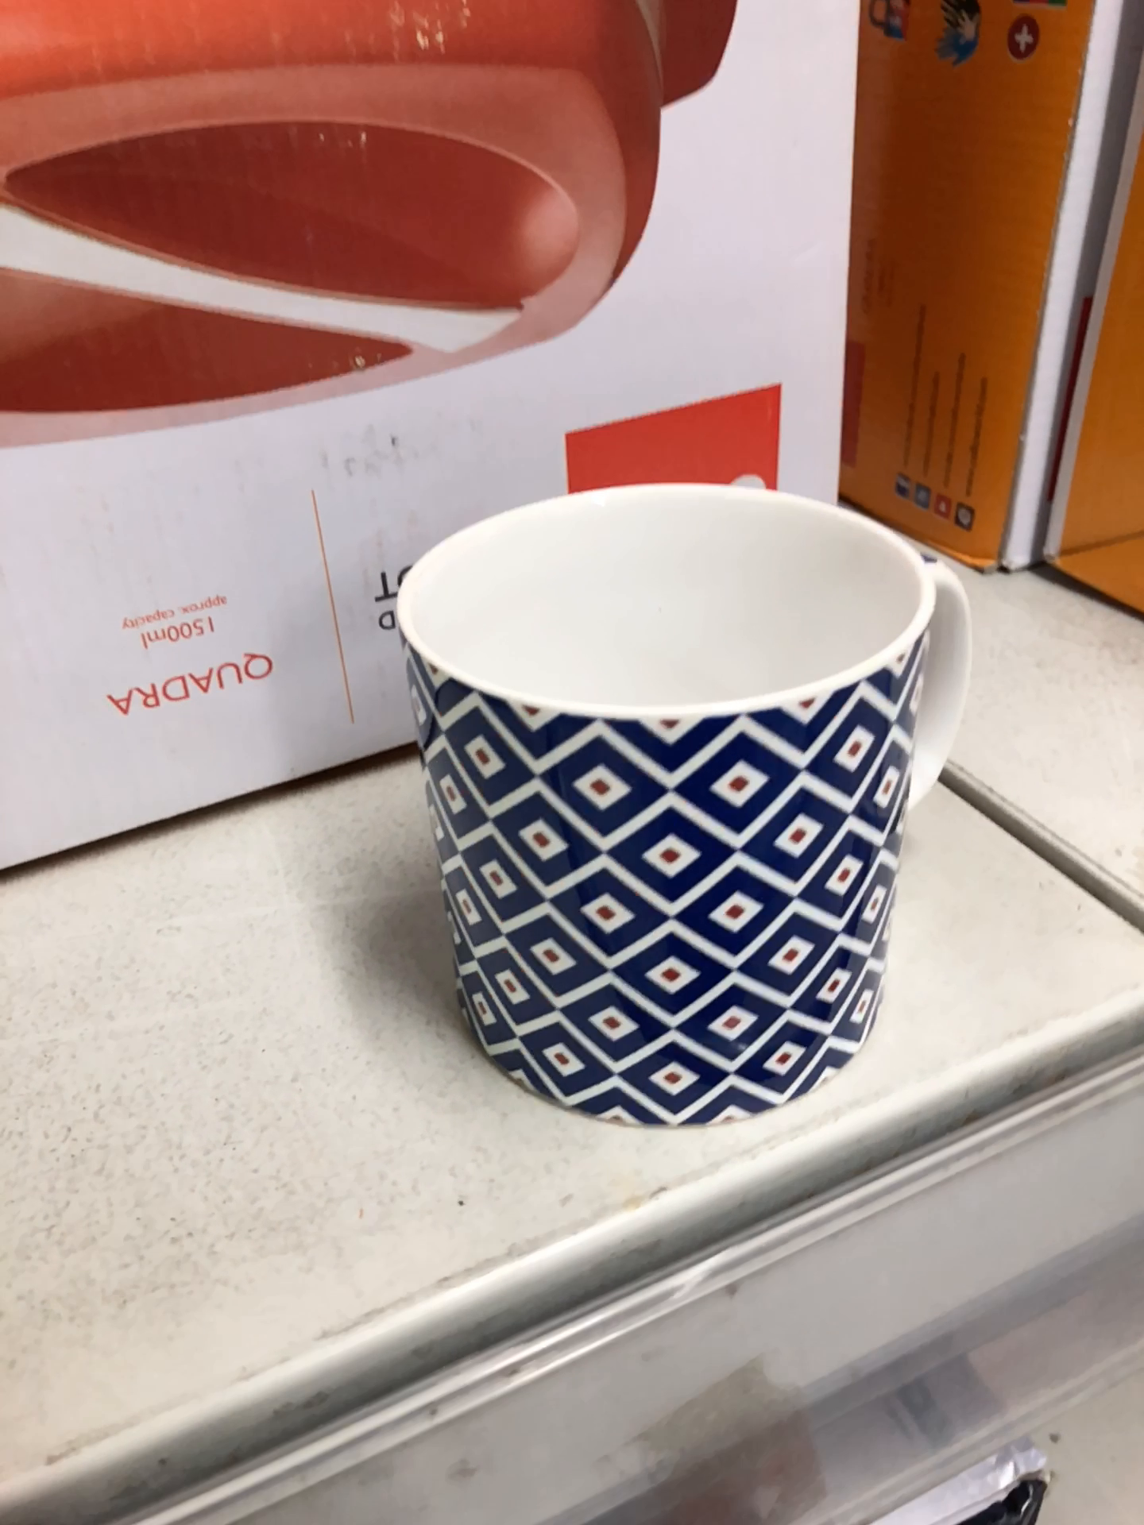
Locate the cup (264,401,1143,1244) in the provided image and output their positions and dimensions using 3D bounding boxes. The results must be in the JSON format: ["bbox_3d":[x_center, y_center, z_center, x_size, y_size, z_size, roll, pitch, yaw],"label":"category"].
[{"bbox_3d":[0.021,0.000,0.210,0.110,0.079,0.080,-17,35,-20],"label":"cup"}]
